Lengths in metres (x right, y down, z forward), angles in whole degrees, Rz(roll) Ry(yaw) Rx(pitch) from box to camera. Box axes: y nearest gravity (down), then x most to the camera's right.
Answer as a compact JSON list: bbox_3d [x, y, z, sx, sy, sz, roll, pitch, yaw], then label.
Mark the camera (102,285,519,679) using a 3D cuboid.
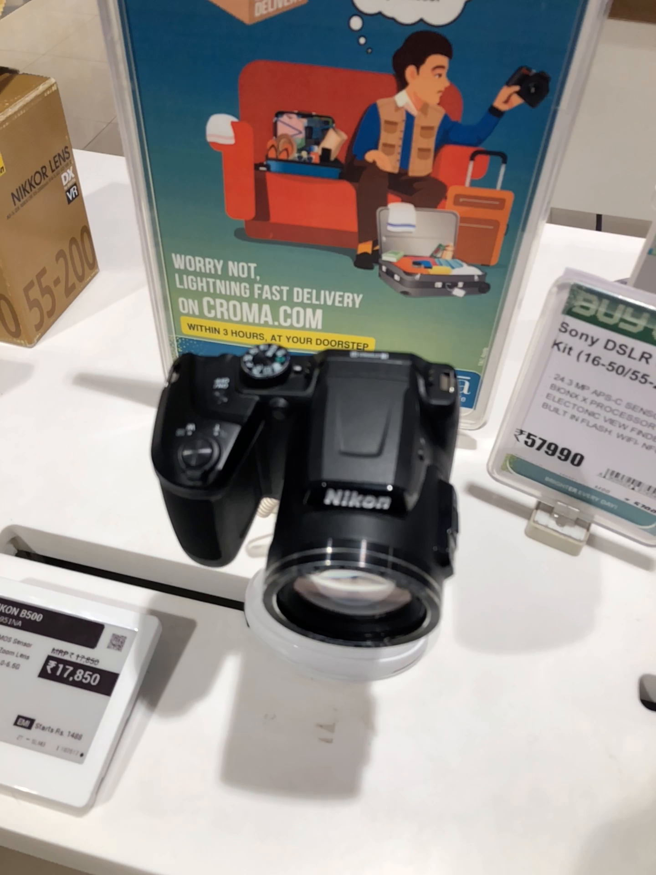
[{"bbox_3d":[-0.002,0.012,0.252,0.110,0.070,0.111,4,47,1],"label":"camera"}]
